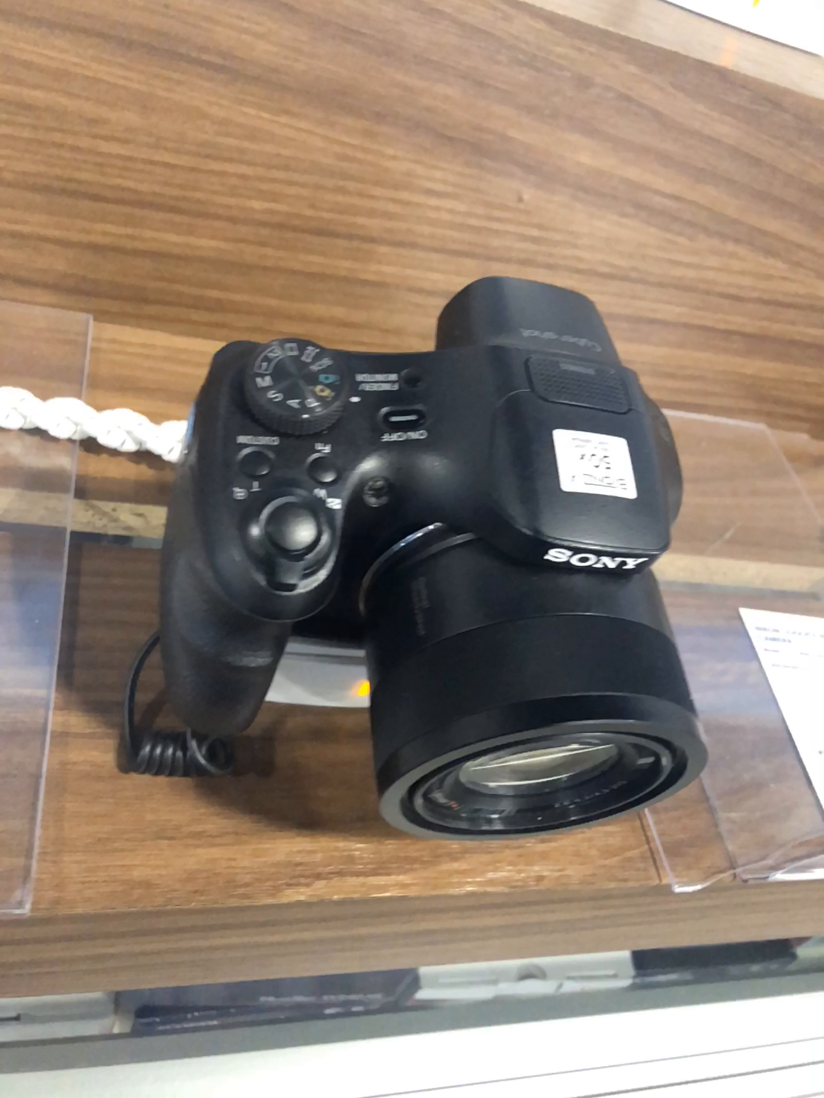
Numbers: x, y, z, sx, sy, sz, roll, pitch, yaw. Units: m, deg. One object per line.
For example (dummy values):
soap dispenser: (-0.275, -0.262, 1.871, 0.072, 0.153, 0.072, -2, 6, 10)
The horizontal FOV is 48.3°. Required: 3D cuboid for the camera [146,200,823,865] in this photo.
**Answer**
camera: (0.010, 0.000, 0.210, 0.125, 0.084, 0.110, 6, 46, -20)
